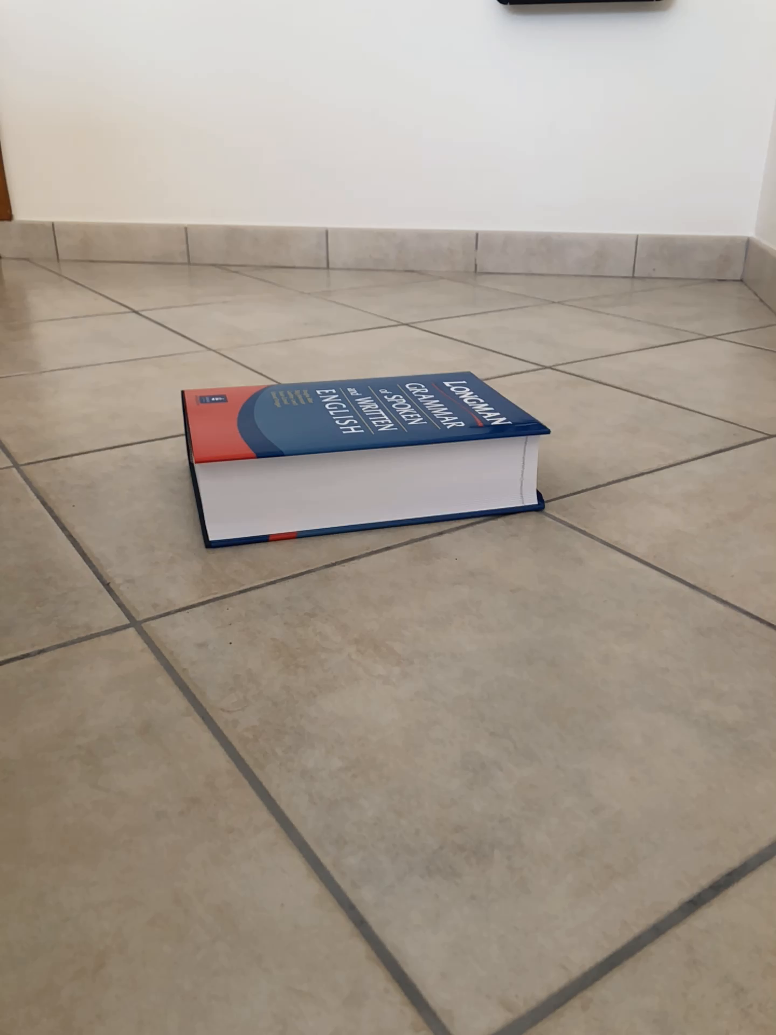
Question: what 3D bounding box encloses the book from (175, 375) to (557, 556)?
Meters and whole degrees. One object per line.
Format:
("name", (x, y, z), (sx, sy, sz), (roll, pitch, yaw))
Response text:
("book", (-0.027, -0.050, 0.645), (0.250, 0.060, 0.178), (-6, 24, -14))
